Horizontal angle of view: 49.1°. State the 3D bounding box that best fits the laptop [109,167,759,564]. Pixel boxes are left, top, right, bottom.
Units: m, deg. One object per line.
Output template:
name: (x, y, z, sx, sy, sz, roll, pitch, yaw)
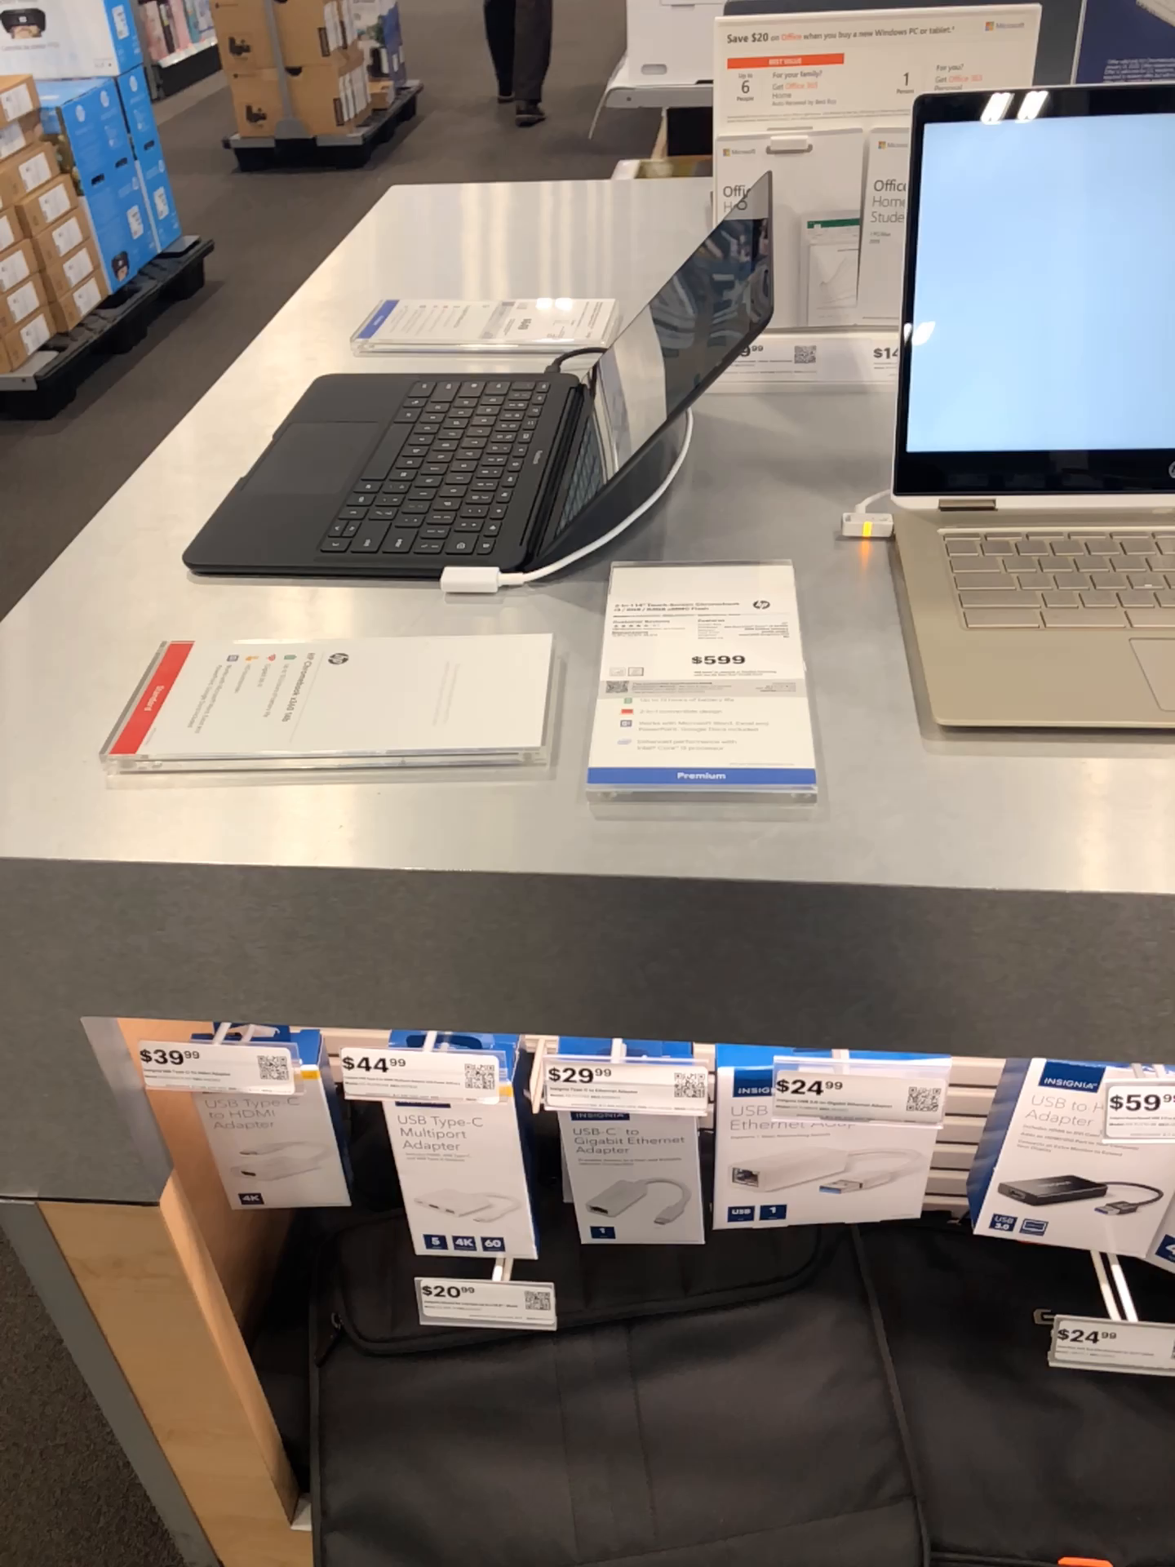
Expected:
laptop: (-0.064, -0.269, 0.801, 0.334, 0.134, 0.295, 1, 38, 8)
